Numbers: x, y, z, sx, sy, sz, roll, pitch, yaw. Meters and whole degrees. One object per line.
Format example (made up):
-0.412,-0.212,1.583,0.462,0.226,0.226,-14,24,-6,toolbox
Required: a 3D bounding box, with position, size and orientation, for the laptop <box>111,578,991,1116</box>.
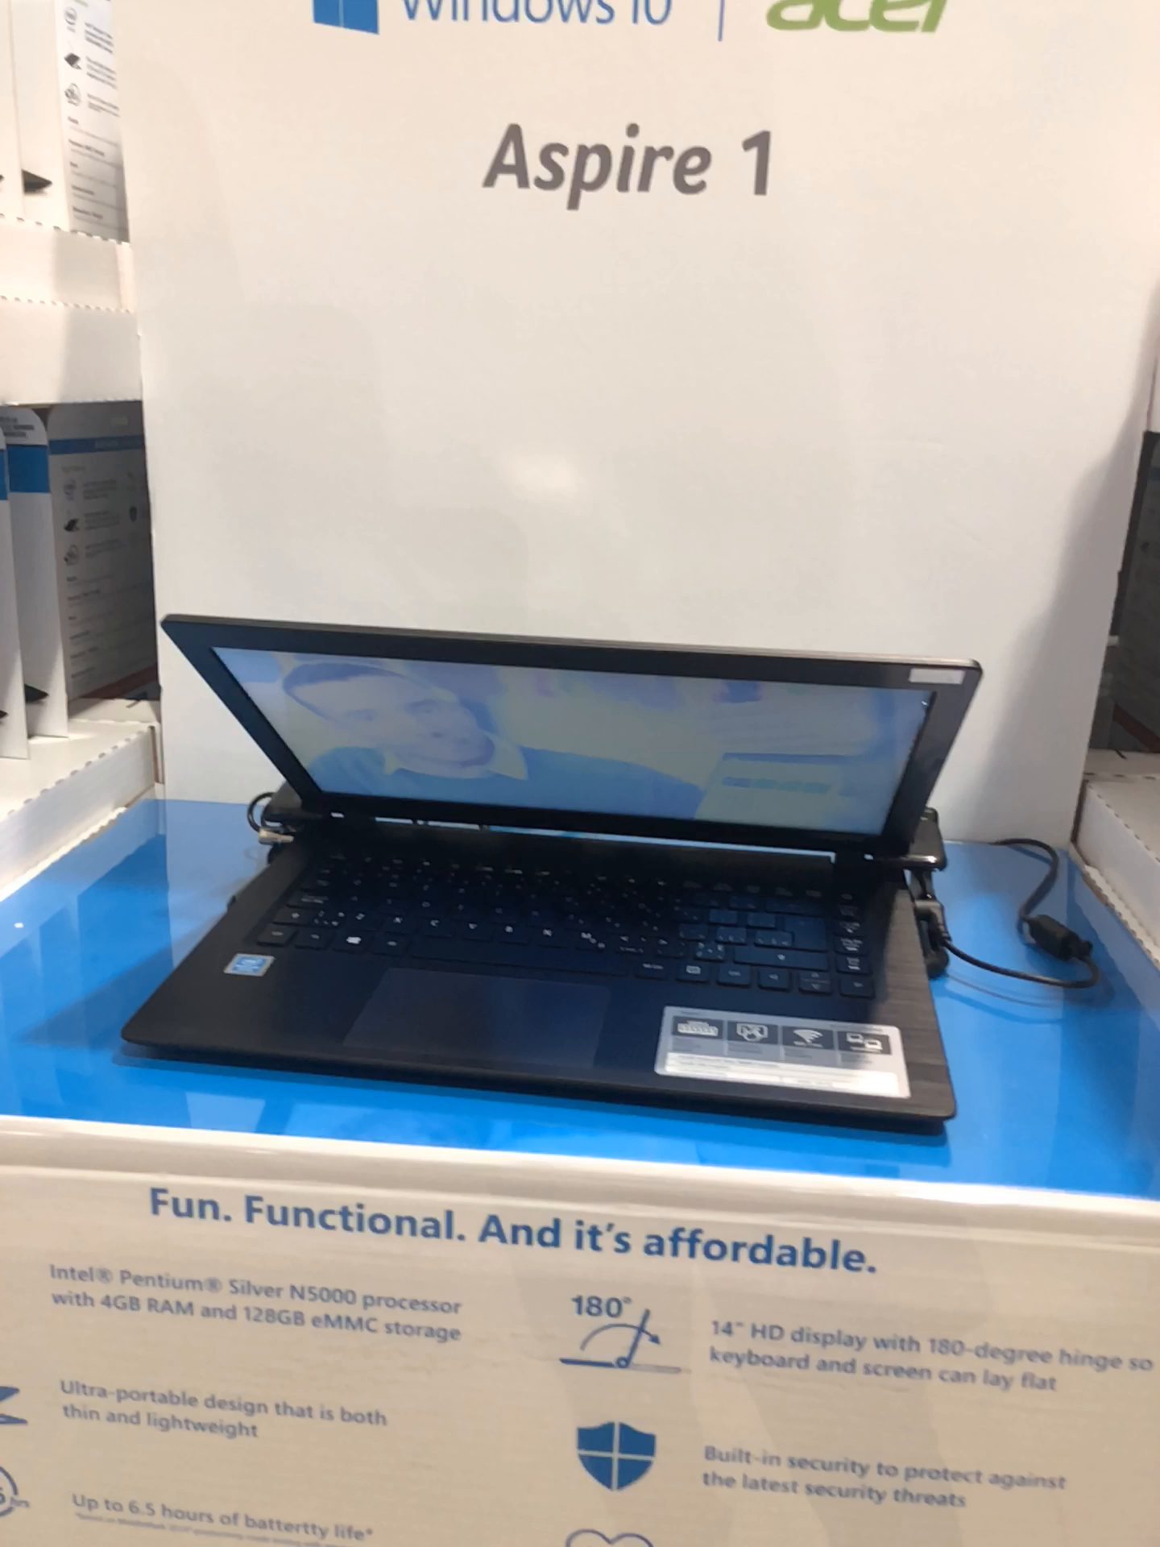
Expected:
-0.006,0.013,0.589,0.333,0.145,0.206,4,19,8,laptop
